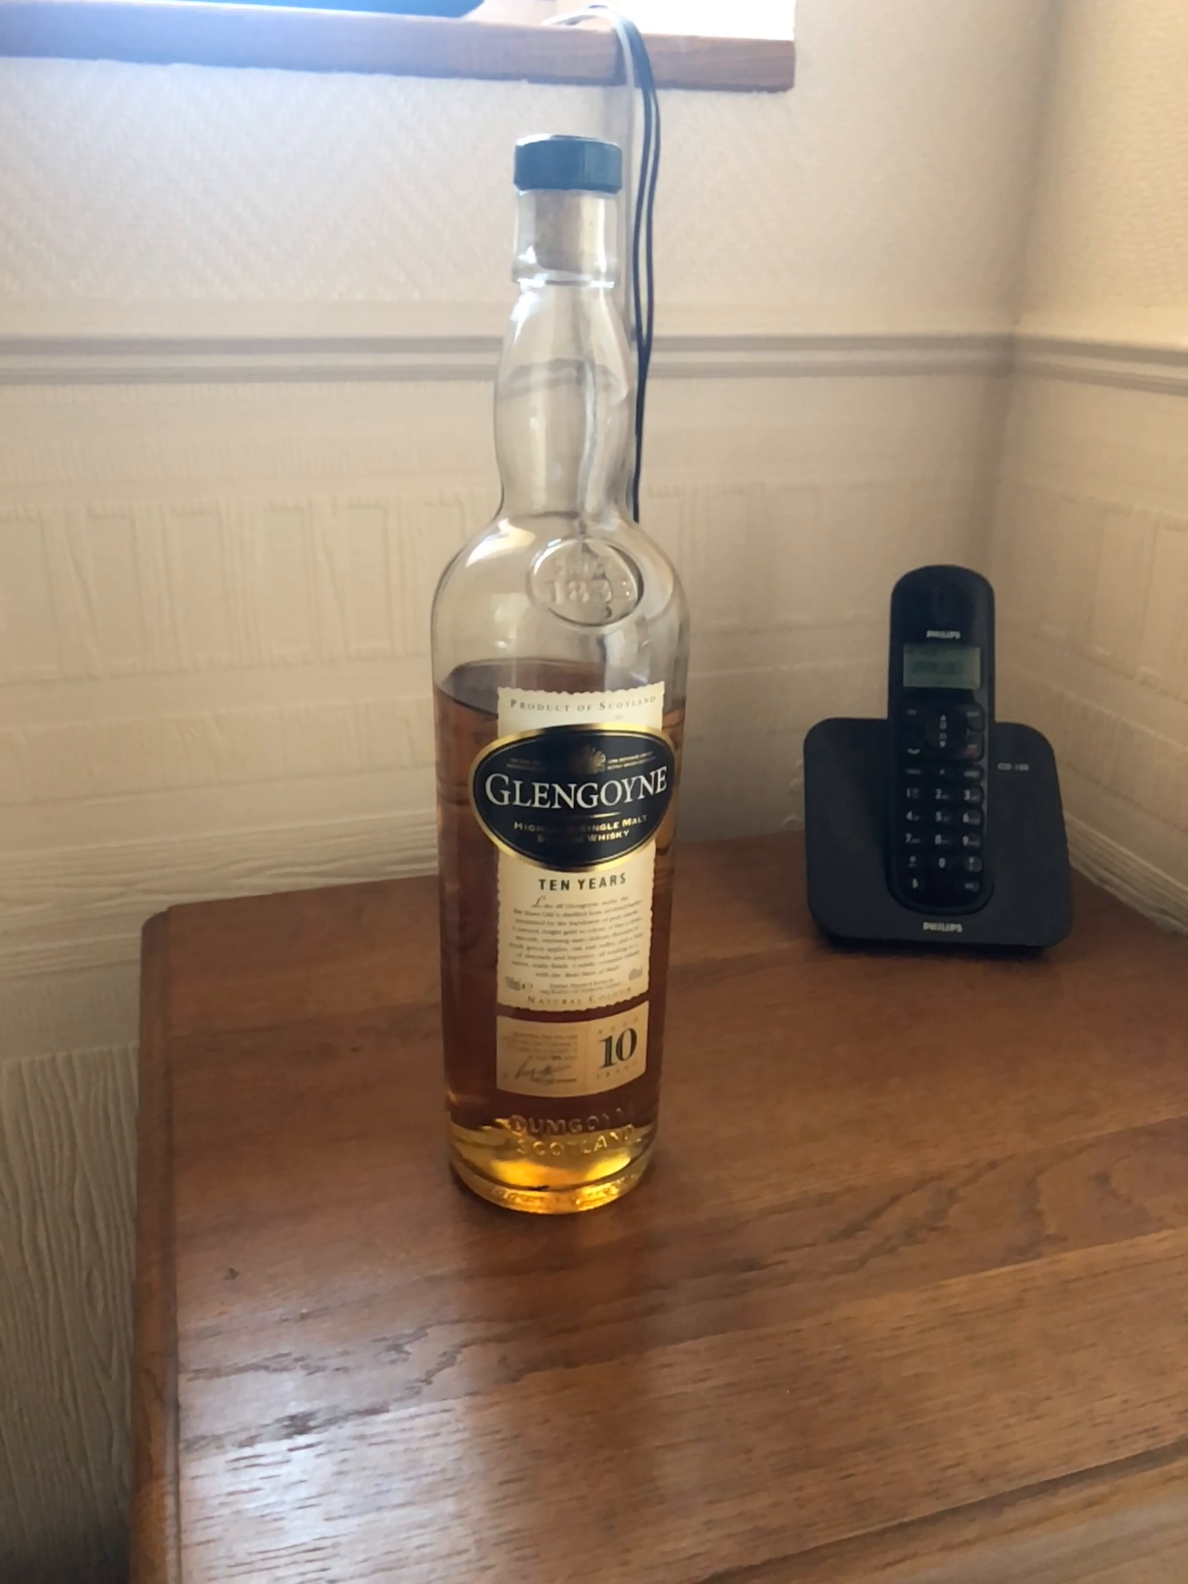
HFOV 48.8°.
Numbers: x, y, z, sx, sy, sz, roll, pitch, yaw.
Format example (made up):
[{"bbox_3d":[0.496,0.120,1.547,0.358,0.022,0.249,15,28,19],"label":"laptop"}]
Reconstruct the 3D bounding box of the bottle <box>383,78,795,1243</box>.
[{"bbox_3d":[-0.007,-0.028,0.393,0.090,0.318,0.080,-5,22,-13],"label":"bottle"}]
